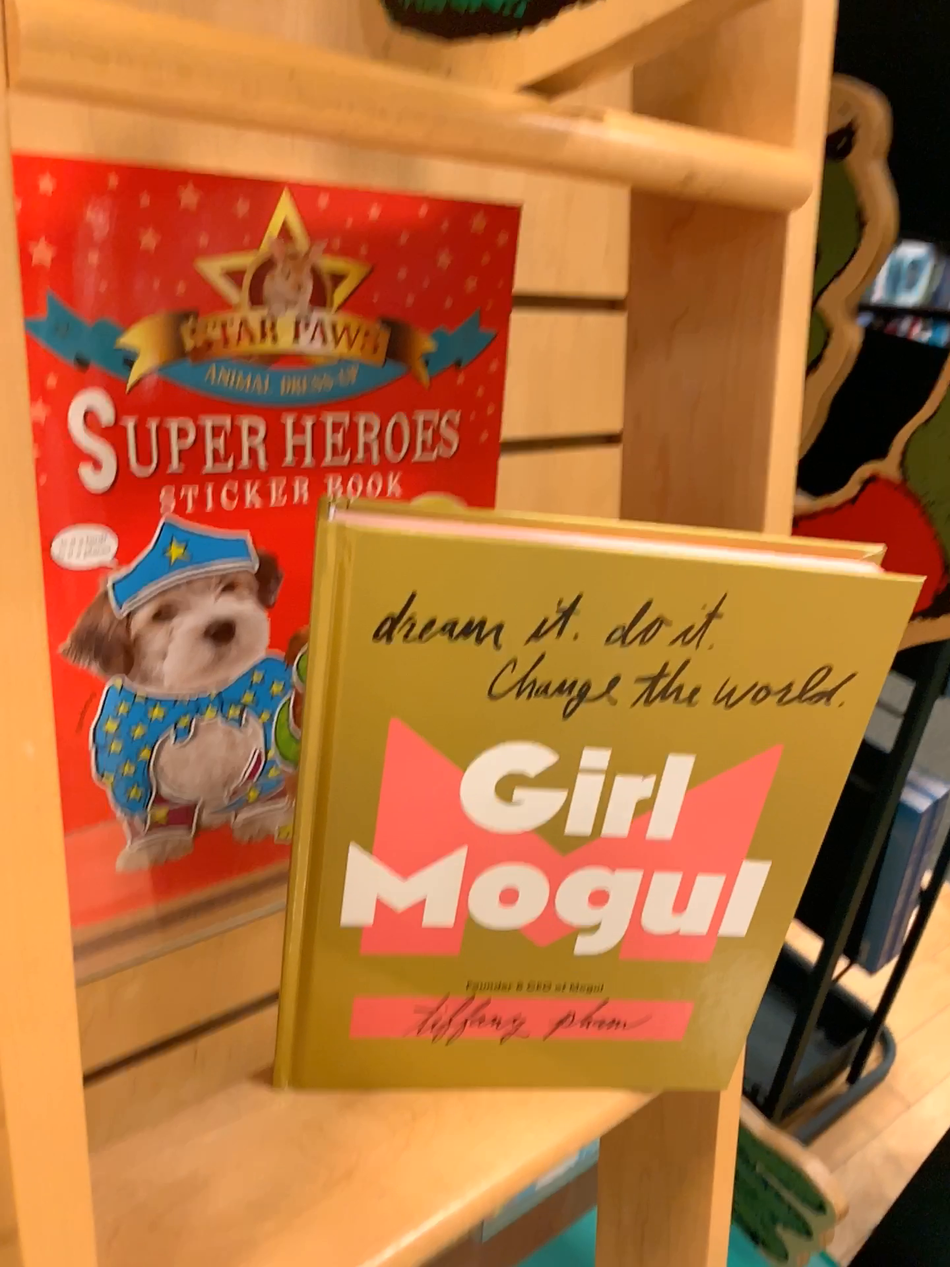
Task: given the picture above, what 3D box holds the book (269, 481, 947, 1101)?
[{"bbox_3d":[0.030,0.068,0.329,0.180,0.219,0.030,4,27,-10],"label":"book"}]
